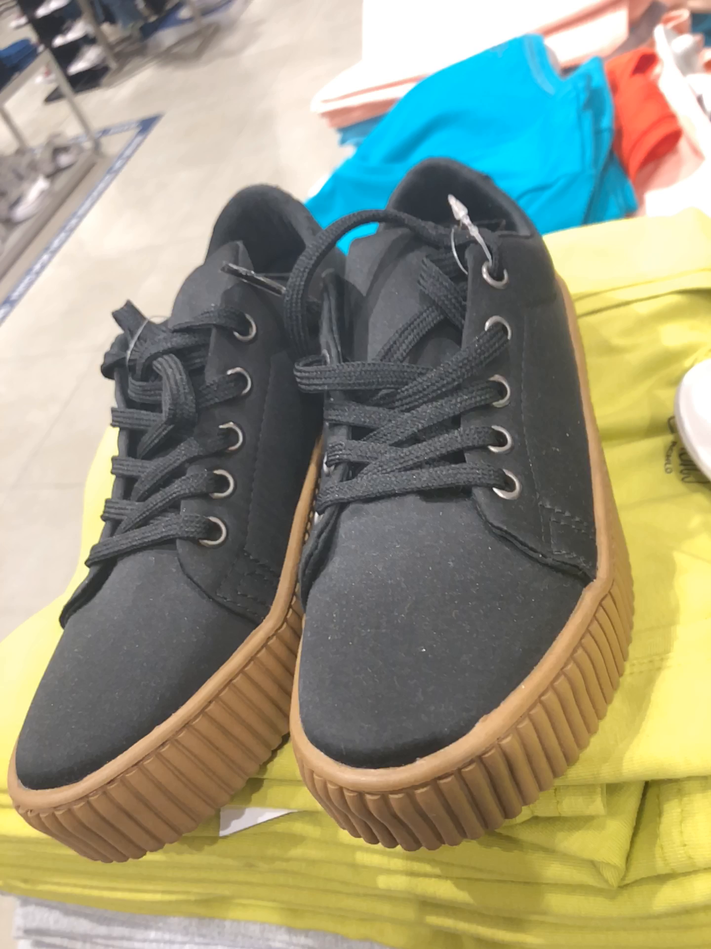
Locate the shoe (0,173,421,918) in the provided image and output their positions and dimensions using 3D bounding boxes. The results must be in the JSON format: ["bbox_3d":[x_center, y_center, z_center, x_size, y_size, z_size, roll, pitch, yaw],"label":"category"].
[{"bbox_3d":[-0.053,0.005,0.271,0.090,0.080,0.231,-6,47,26],"label":"shoe"}]

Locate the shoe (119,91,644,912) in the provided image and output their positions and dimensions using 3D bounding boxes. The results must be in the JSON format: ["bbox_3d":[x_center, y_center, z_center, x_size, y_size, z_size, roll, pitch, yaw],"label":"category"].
[{"bbox_3d":[0.028,-0.012,0.247,0.090,0.080,0.241,-9,46,23],"label":"shoe"}]
